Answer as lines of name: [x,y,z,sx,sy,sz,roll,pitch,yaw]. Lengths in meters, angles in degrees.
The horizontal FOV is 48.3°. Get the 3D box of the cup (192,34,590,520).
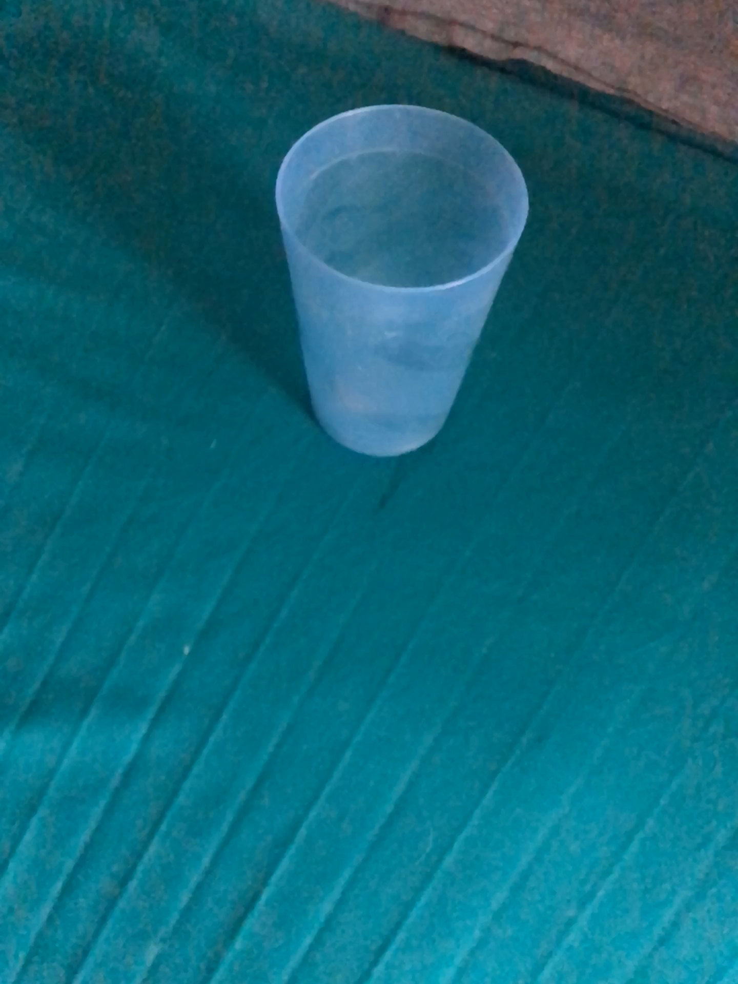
cup: [0.005,-0.058,0.263,0.078,0.119,0.066,31,69,11]
